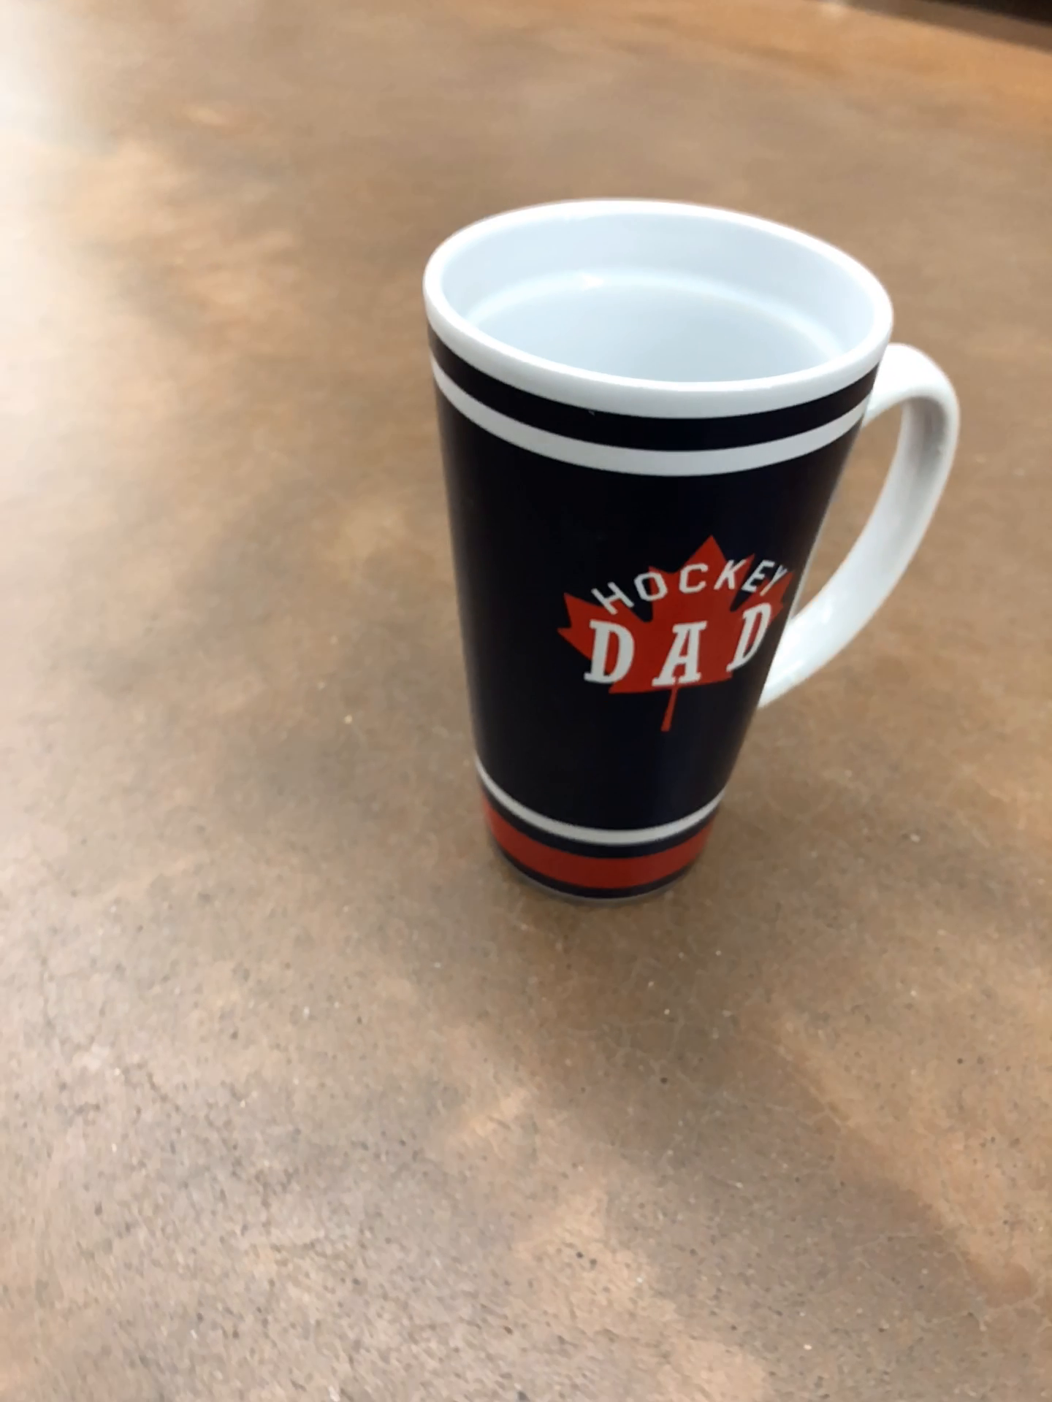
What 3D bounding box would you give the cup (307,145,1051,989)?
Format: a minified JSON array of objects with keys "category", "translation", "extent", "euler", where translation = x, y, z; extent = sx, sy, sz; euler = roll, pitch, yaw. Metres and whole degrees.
[{"category":"cup","translation":[0.035,-0.035,0.267],"extent":[0.130,0.130,0.090],"euler":[-22,47,-26]}]
